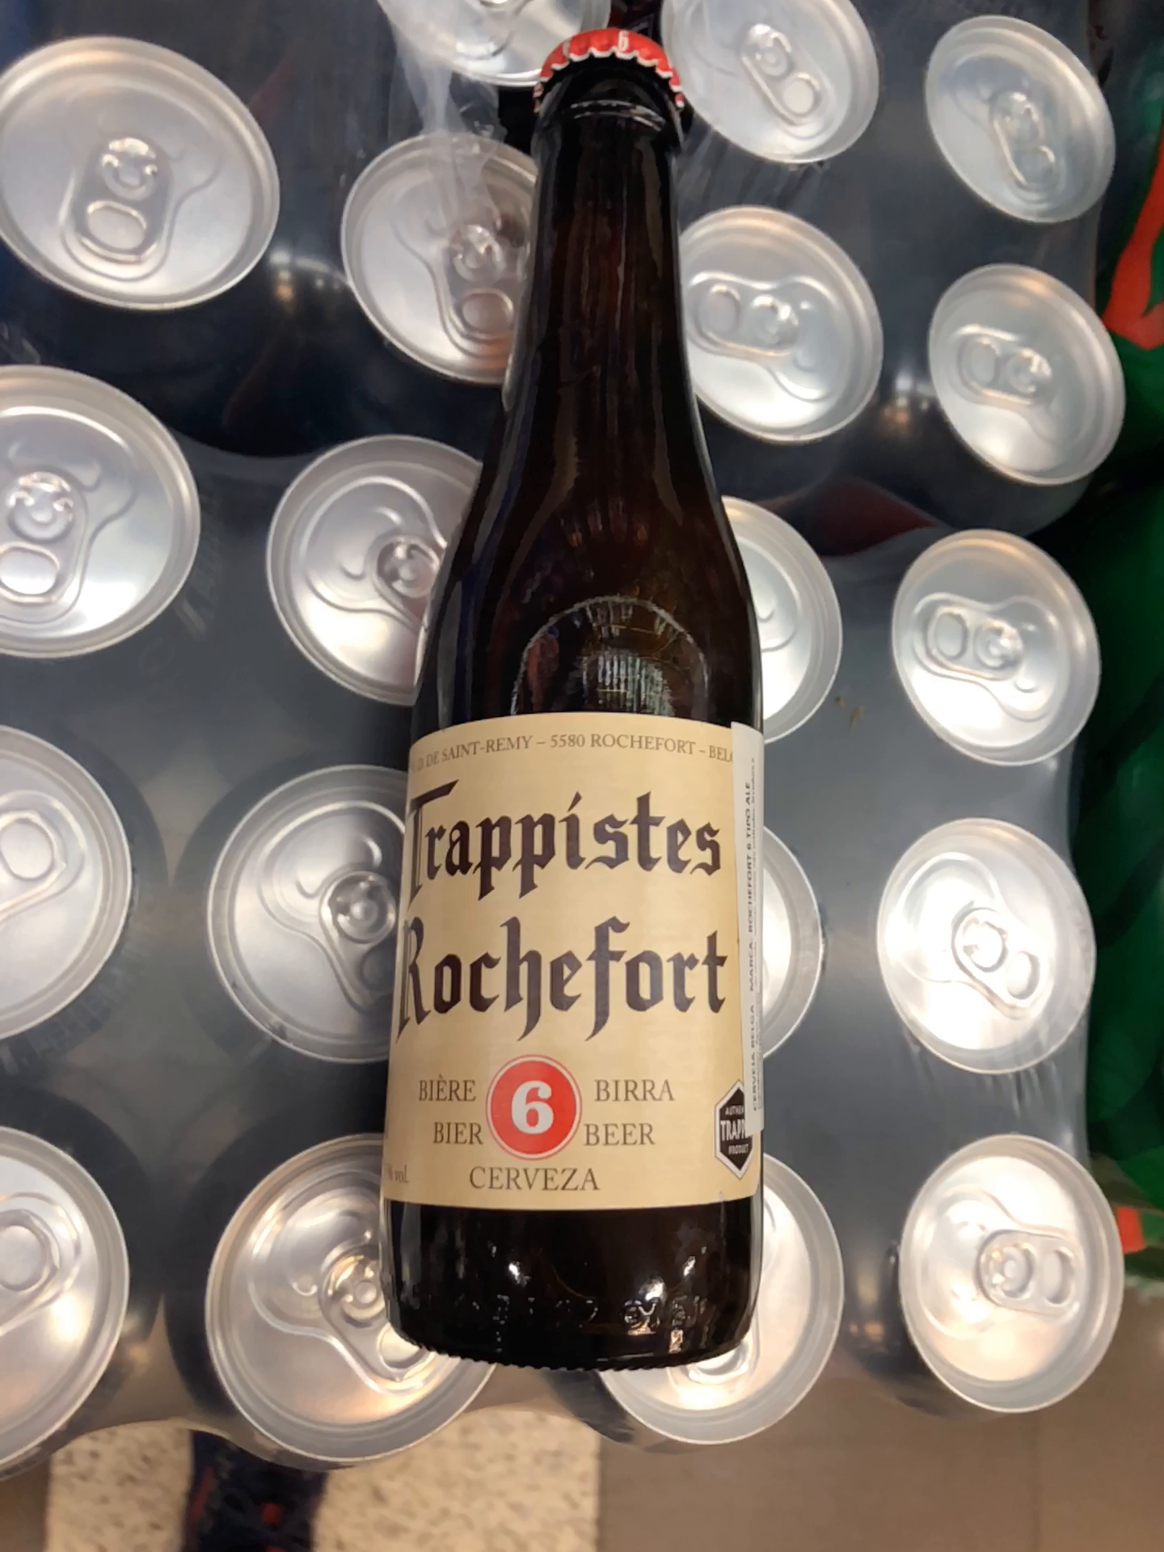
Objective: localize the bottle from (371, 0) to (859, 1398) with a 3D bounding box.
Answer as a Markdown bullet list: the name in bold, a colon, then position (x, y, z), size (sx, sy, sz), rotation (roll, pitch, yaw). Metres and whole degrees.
- **bottle**: position (0.005, -0.033, 0.218), size (0.060, 0.050, 0.240), rotation (5, 79, -18)
